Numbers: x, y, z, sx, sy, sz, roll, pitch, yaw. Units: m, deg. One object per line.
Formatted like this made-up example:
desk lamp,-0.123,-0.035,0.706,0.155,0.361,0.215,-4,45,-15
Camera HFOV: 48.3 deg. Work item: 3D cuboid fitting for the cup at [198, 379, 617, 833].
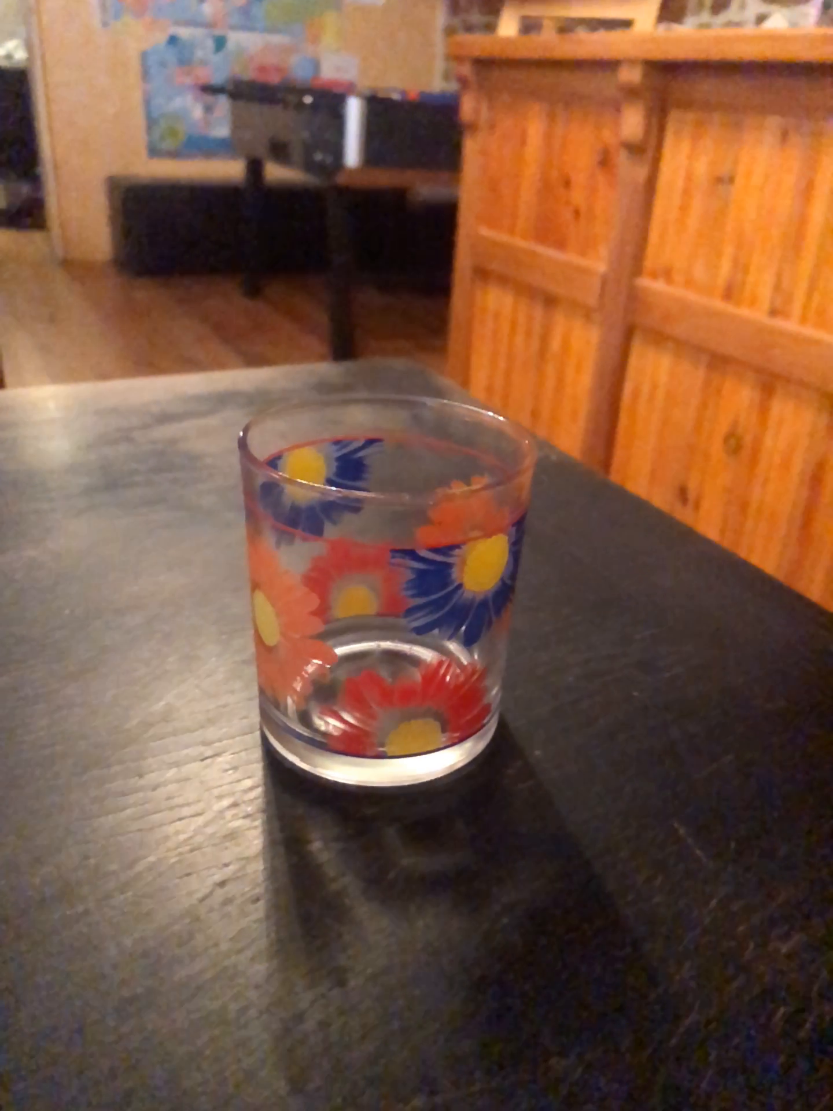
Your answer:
cup,-0.008,0.006,0.244,0.076,0.079,0.078,3,26,-1
